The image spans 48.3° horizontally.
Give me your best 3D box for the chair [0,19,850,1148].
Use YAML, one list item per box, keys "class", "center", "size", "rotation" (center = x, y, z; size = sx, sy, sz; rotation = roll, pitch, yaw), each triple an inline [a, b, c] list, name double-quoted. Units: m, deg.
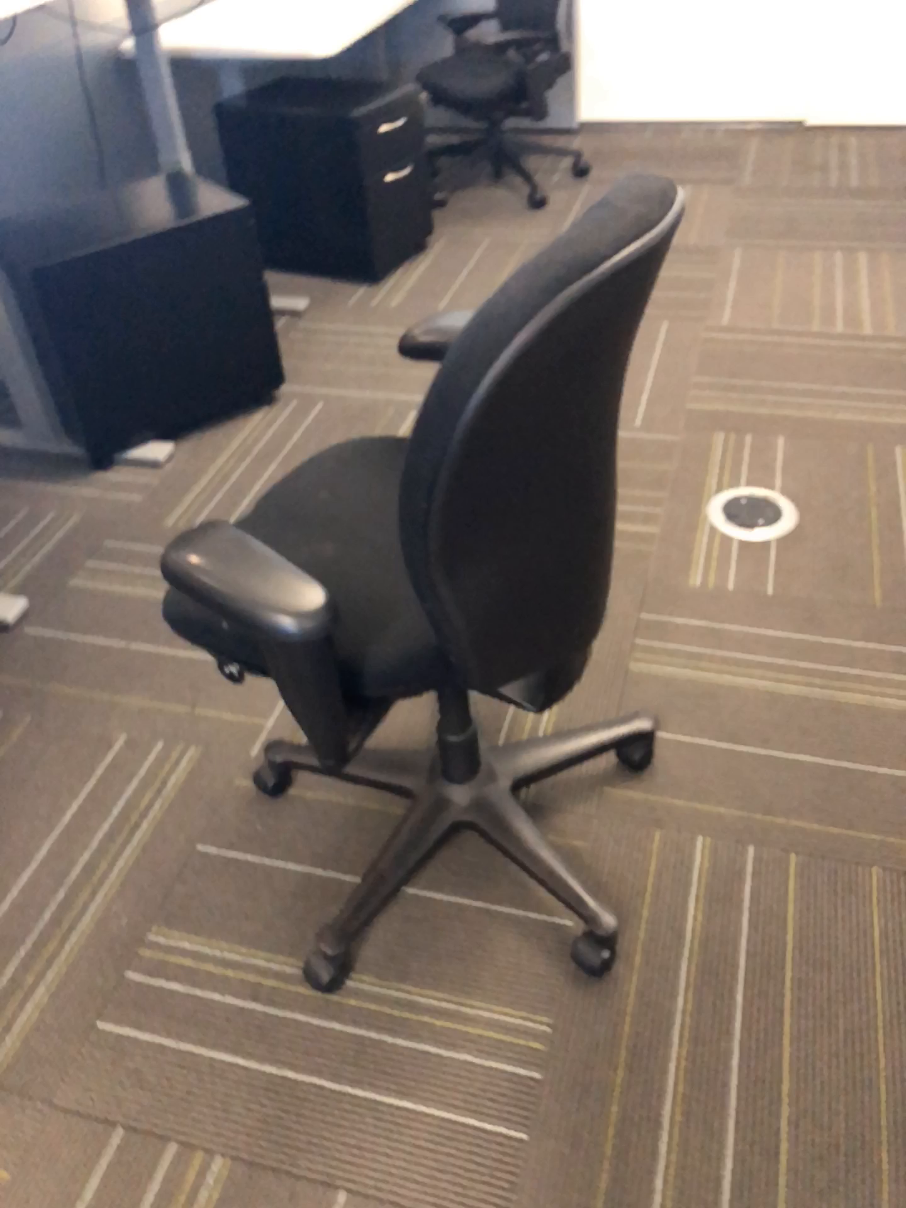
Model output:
- class: "chair"
  center: [-0.055, -0.059, 1.222]
  size: [0.682, 0.995, 0.702]
  rotation: [19, 45, 28]
